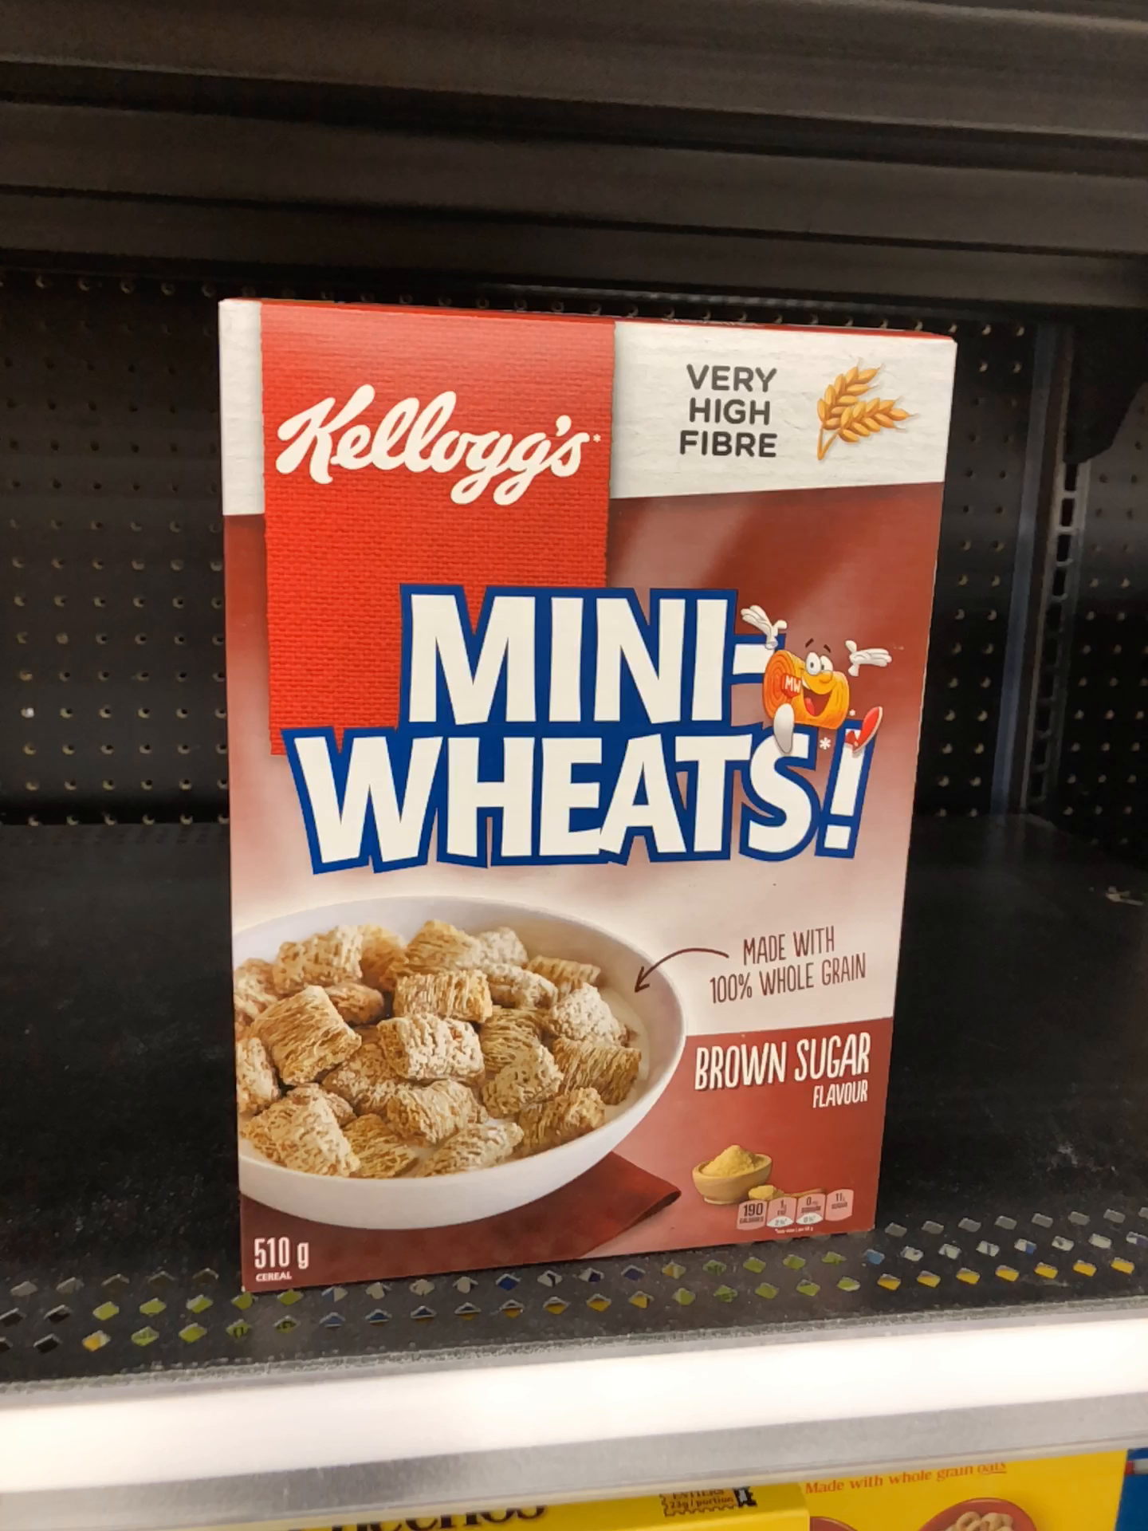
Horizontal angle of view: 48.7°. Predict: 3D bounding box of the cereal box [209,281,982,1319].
[{"bbox_3d":[0.002,0.012,0.379,0.200,0.279,0.060,-1,13,-11],"label":"cereal box"}]
